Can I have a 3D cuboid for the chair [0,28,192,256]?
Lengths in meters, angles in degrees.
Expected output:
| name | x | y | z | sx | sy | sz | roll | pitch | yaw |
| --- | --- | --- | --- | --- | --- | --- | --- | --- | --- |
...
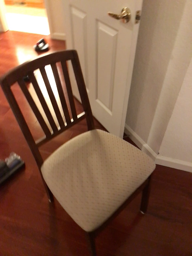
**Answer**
| name | x | y | z | sx | sy | sz | roll | pitch | yaw |
| --- | --- | --- | --- | --- | --- | --- | --- | --- | --- |
| chair | -0.040 | 0.152 | 0.969 | 0.502 | 0.924 | 0.561 | -33 | 52 | -28 |
